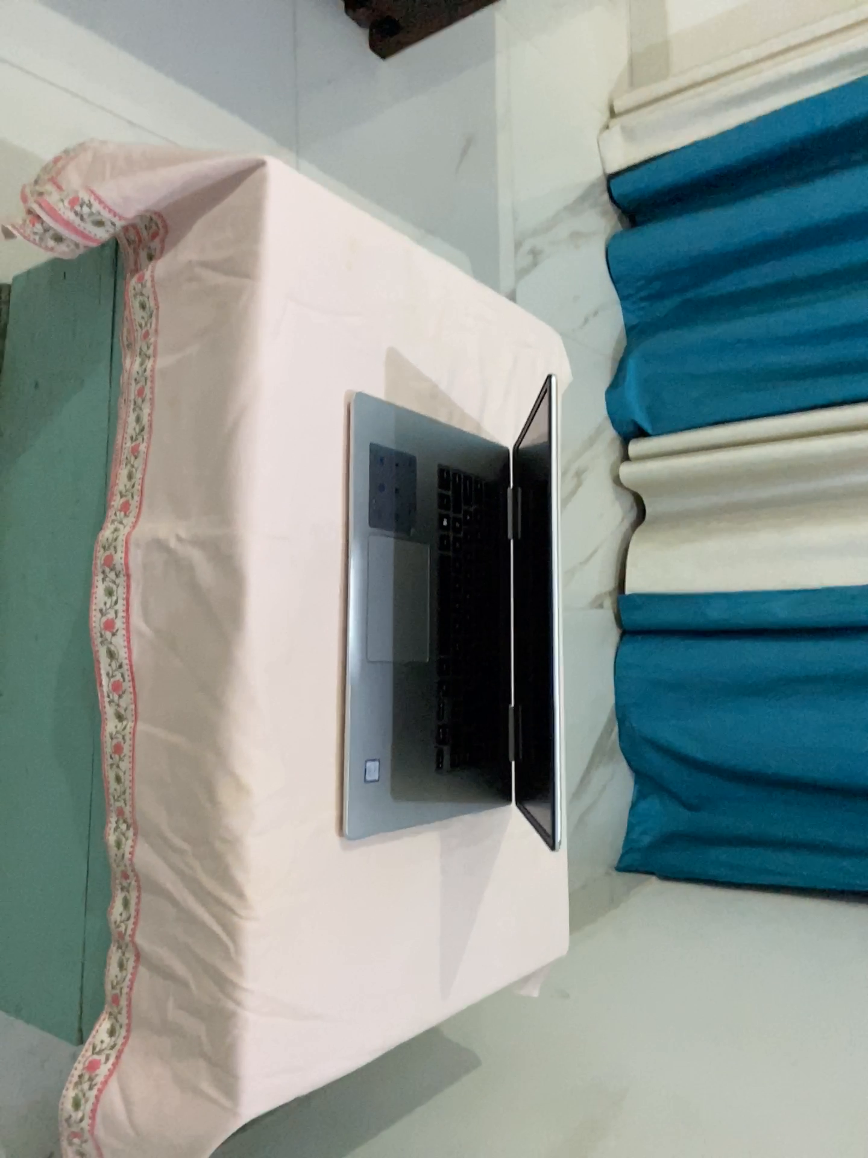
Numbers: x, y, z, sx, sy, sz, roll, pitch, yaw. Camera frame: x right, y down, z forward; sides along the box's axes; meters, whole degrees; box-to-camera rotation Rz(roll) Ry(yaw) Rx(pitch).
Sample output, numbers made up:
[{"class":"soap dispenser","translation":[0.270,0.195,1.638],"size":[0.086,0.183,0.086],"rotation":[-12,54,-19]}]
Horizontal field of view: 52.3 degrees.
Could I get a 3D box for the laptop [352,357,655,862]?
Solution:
[{"class":"laptop","translation":[0.067,0.030,0.747],"size":[0.236,0.148,0.347],"rotation":[7,82,-53]}]
